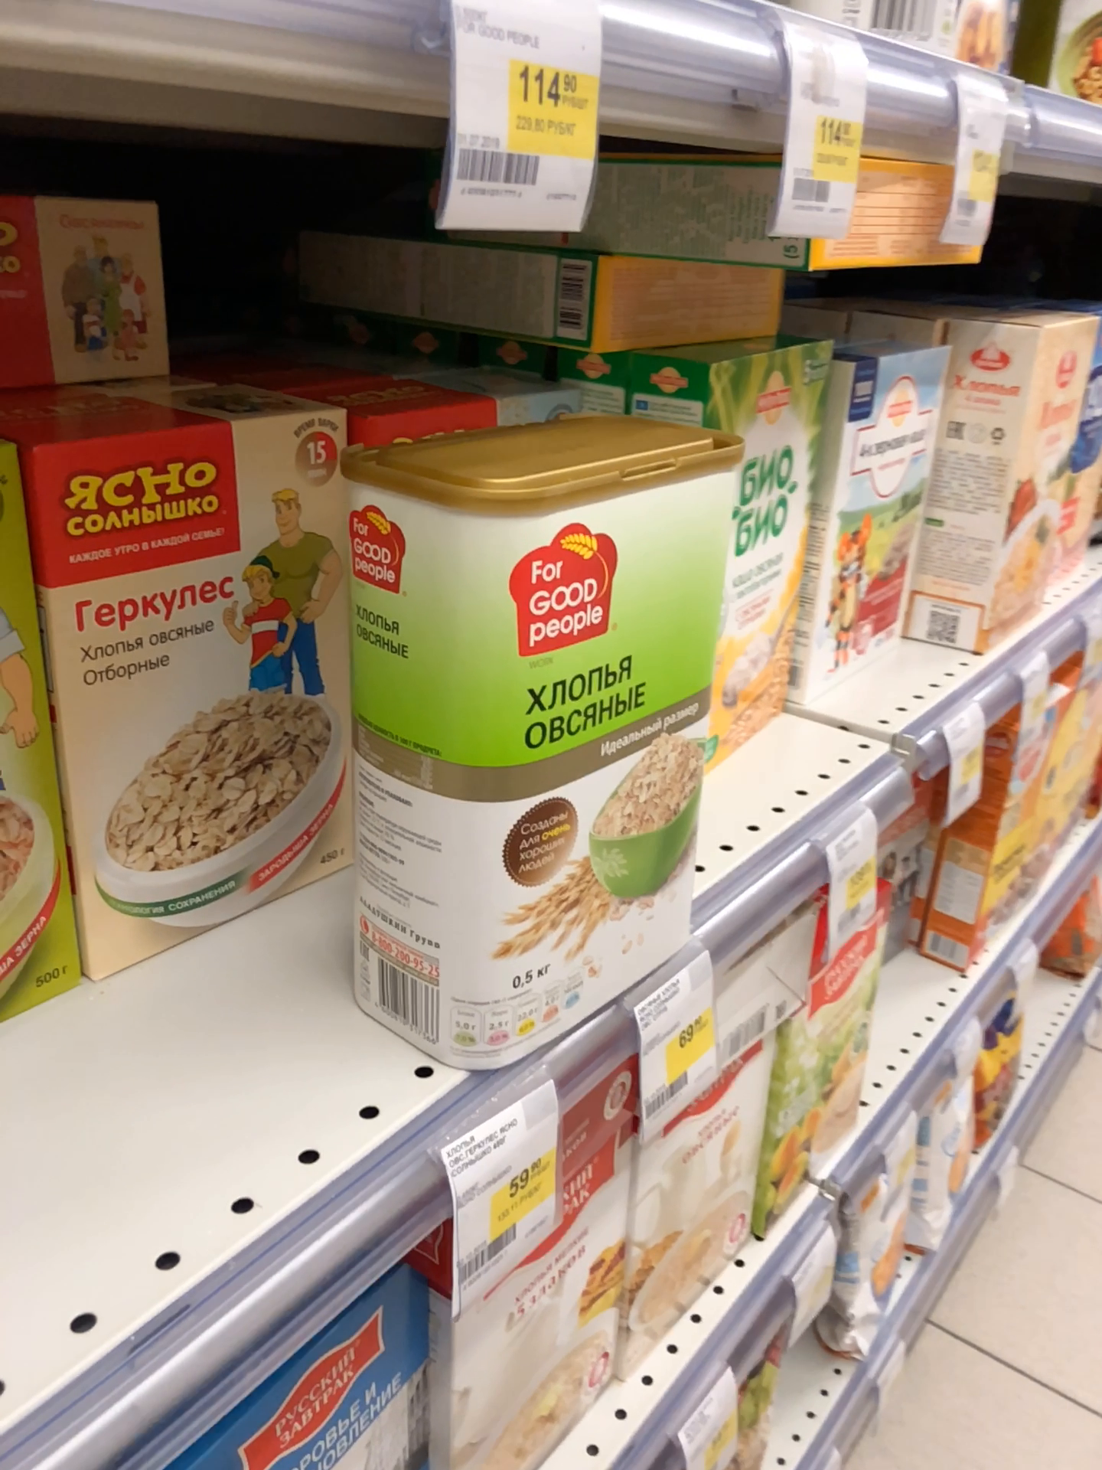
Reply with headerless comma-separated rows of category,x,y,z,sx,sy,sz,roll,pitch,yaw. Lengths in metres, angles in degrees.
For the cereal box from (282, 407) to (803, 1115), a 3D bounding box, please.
cereal box,-0.002,-0.003,0.413,0.090,0.189,0.140,22,30,38
